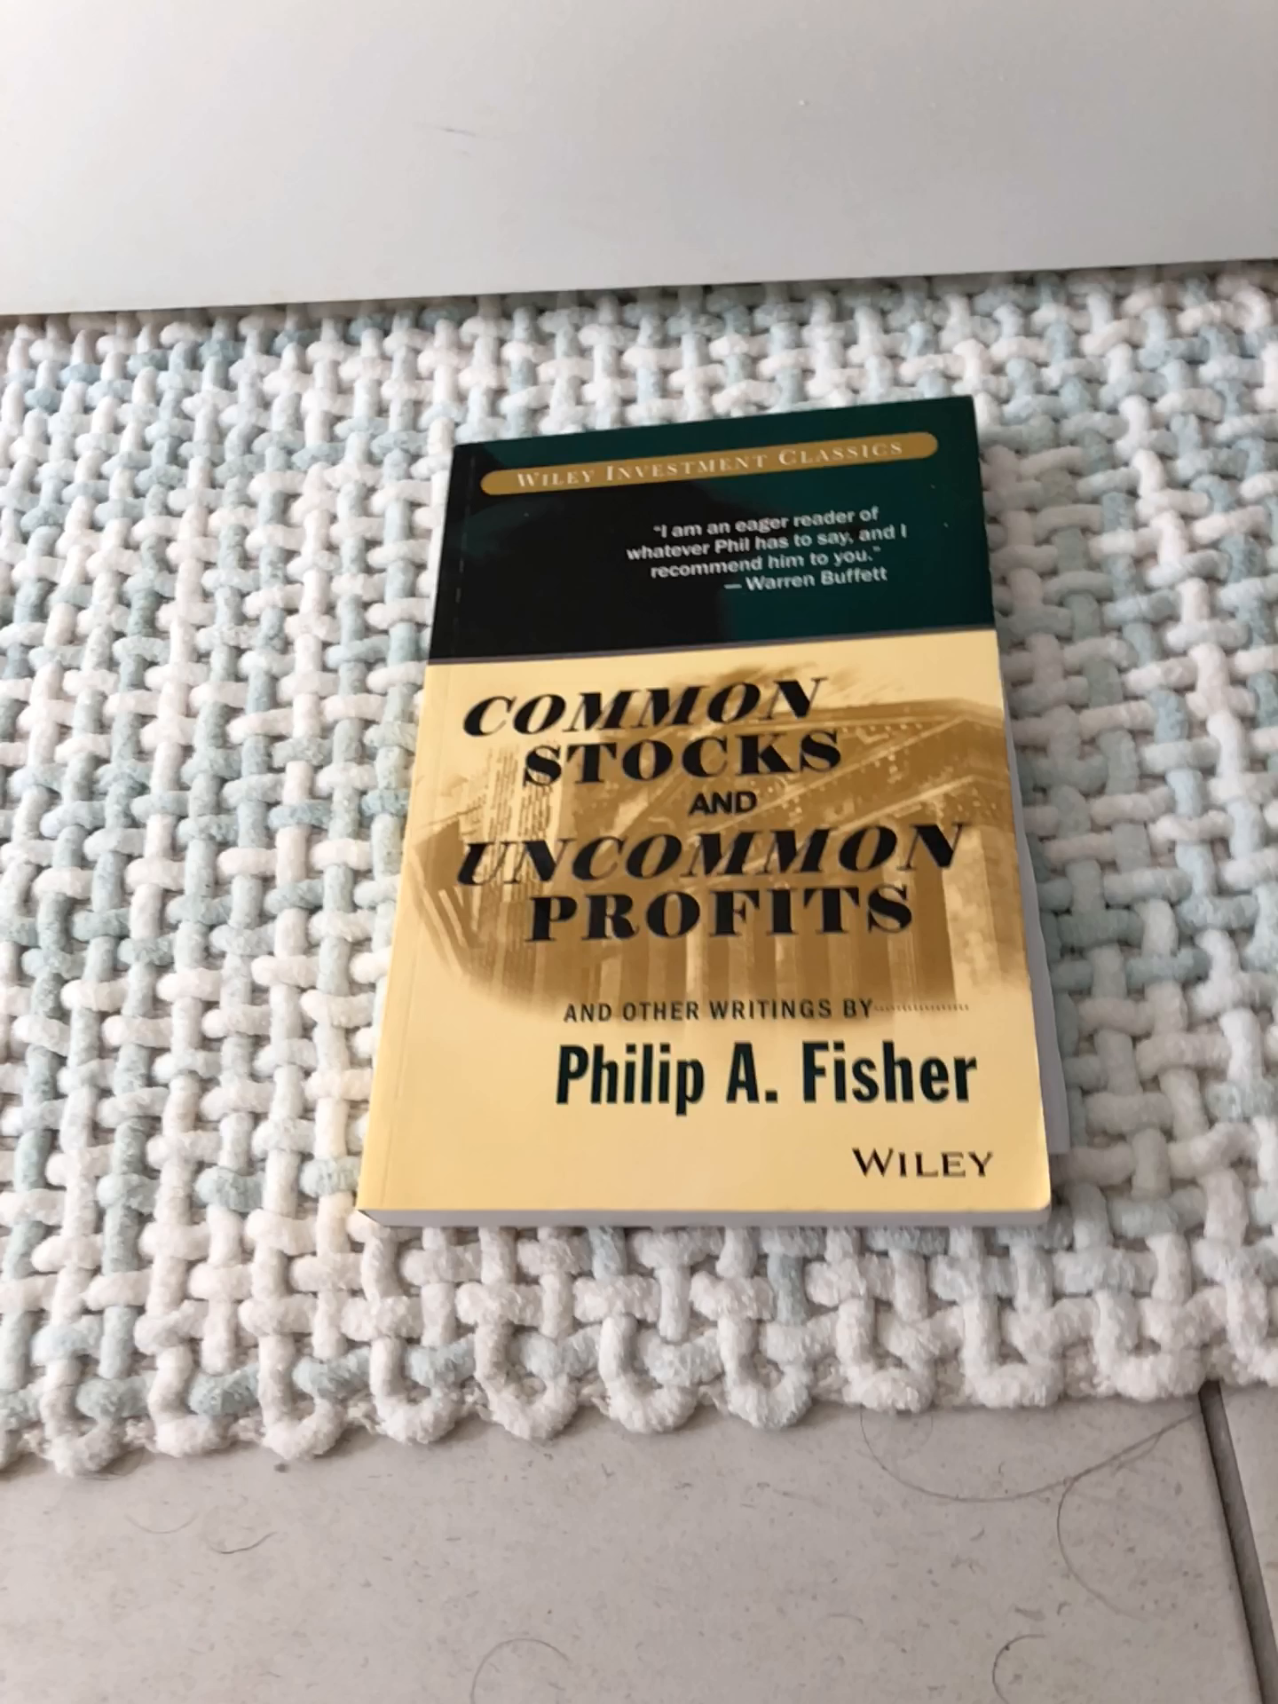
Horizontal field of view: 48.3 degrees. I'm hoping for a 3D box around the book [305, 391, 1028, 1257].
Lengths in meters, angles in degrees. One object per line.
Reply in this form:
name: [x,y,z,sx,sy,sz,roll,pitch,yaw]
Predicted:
book: [0.010,-0.018,0.392,0.166,0.026,0.247,-2,62,9]
